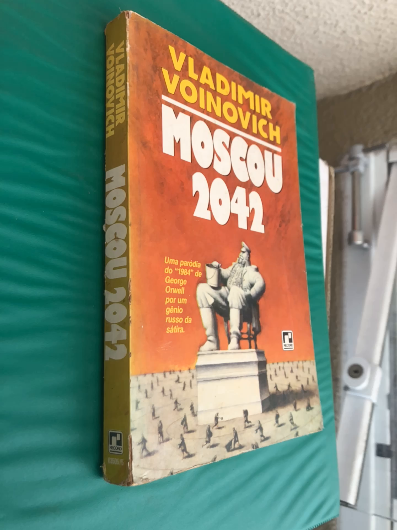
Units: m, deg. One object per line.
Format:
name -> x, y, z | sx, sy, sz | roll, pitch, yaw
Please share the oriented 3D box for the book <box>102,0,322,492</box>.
book -> 0.013, -0.011, 0.231 | 0.133, 0.020, 0.203 | 8, 76, -44
